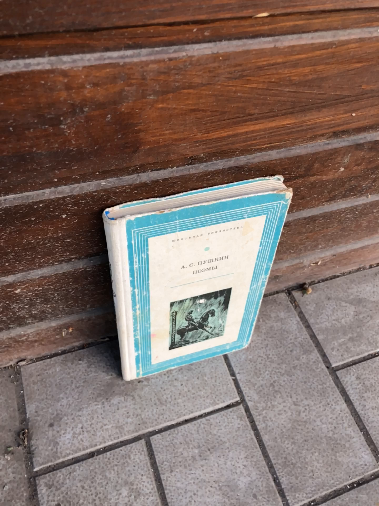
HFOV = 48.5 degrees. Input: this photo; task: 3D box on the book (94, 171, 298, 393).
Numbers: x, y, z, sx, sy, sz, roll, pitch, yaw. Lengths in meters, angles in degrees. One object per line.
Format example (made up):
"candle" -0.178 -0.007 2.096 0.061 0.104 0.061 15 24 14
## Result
"book" 0.002 0.033 0.338 0.130 0.189 0.030 -12 46 -16
